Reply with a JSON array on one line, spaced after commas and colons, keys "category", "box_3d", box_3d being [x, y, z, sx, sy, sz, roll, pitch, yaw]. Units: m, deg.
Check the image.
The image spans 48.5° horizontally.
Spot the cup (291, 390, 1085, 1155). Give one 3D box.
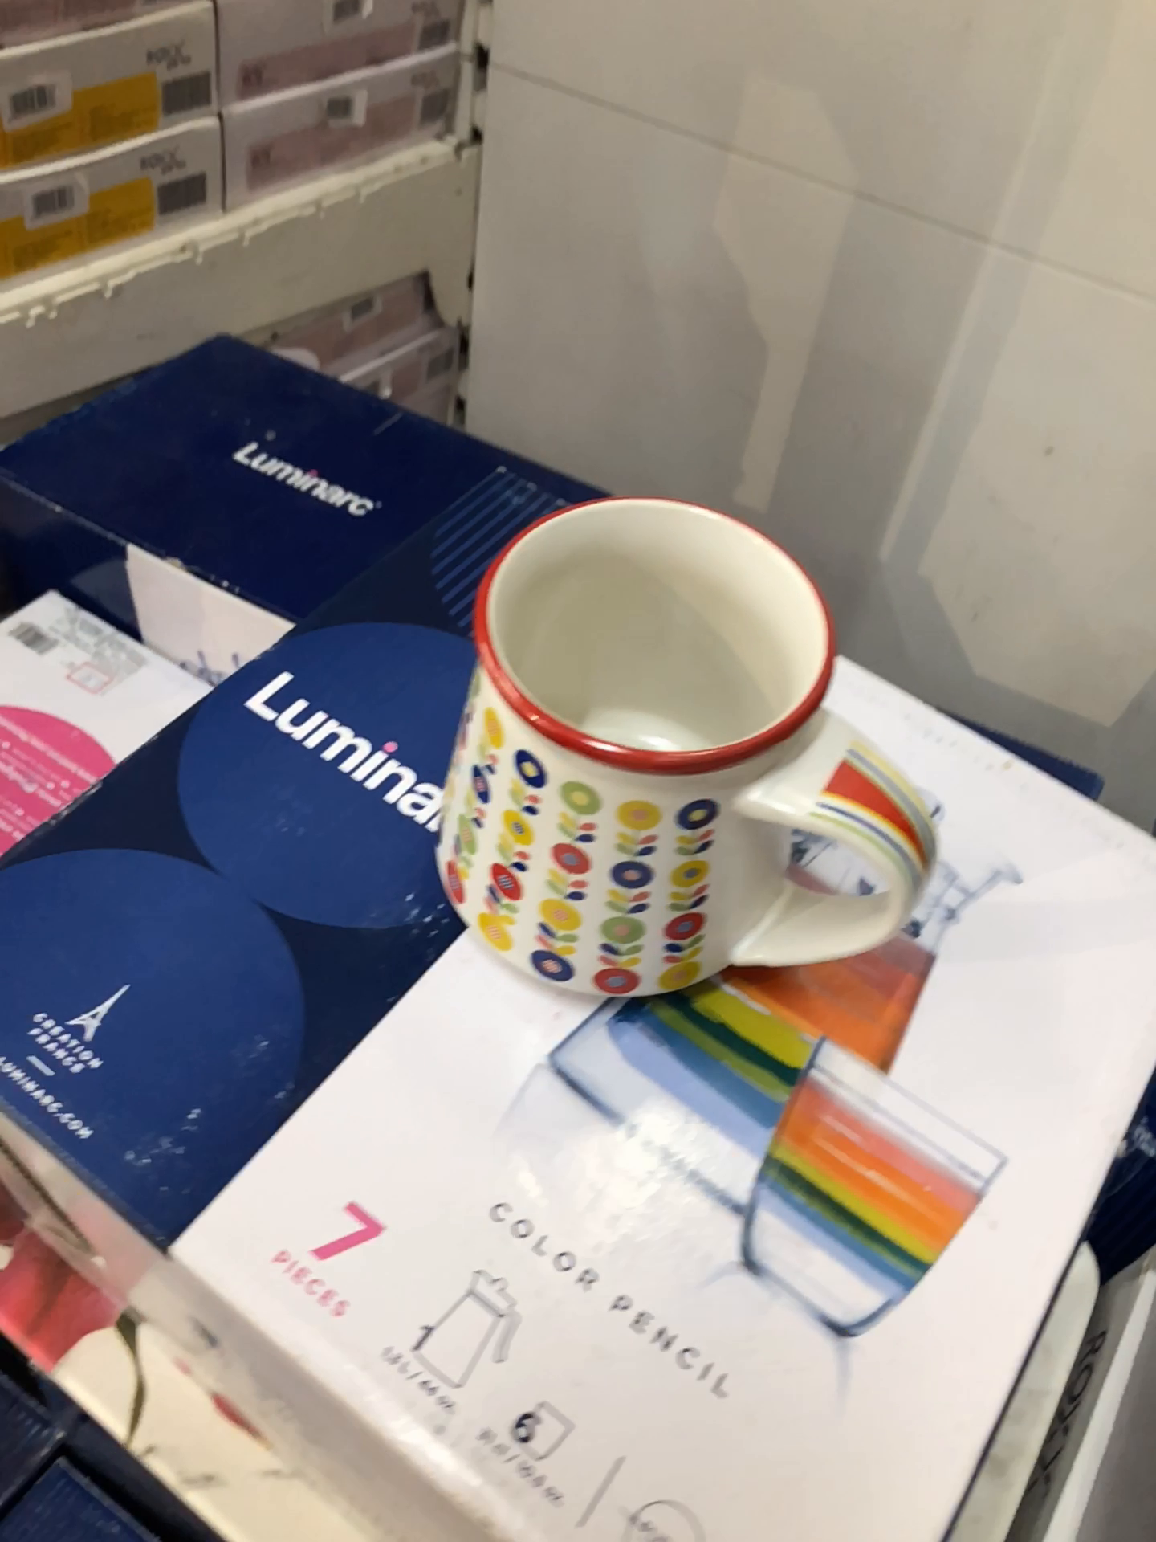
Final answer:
[{"category": "cup", "box_3d": [0.019, -0.002, 0.281, 0.130, 0.089, 0.081, 30, 55, 19]}]
